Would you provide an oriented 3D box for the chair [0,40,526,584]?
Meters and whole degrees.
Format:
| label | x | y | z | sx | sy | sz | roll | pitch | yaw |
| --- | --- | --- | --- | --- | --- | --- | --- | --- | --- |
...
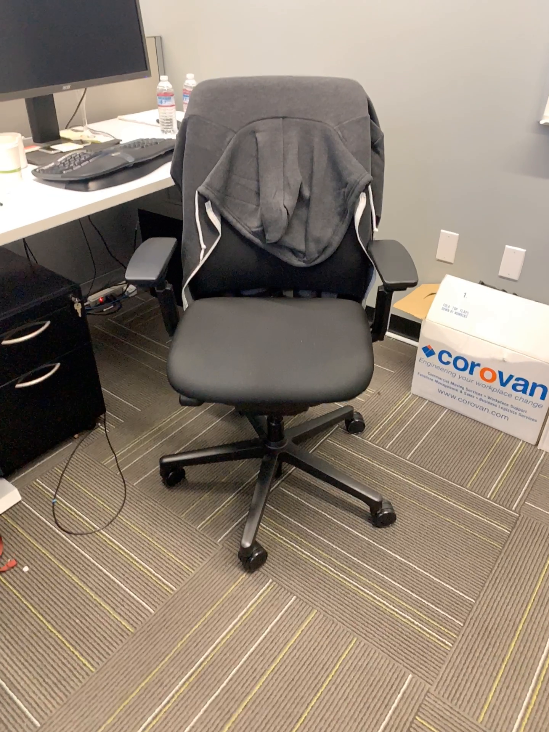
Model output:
| label | x | y | z | sx | sy | sz | roll | pitch | yaw |
| --- | --- | --- | --- | --- | --- | --- | --- | --- | --- |
| chair | -0.009 | -0.177 | 1.447 | 0.750 | 1.073 | 0.885 | 2 | 35 | 3 |
